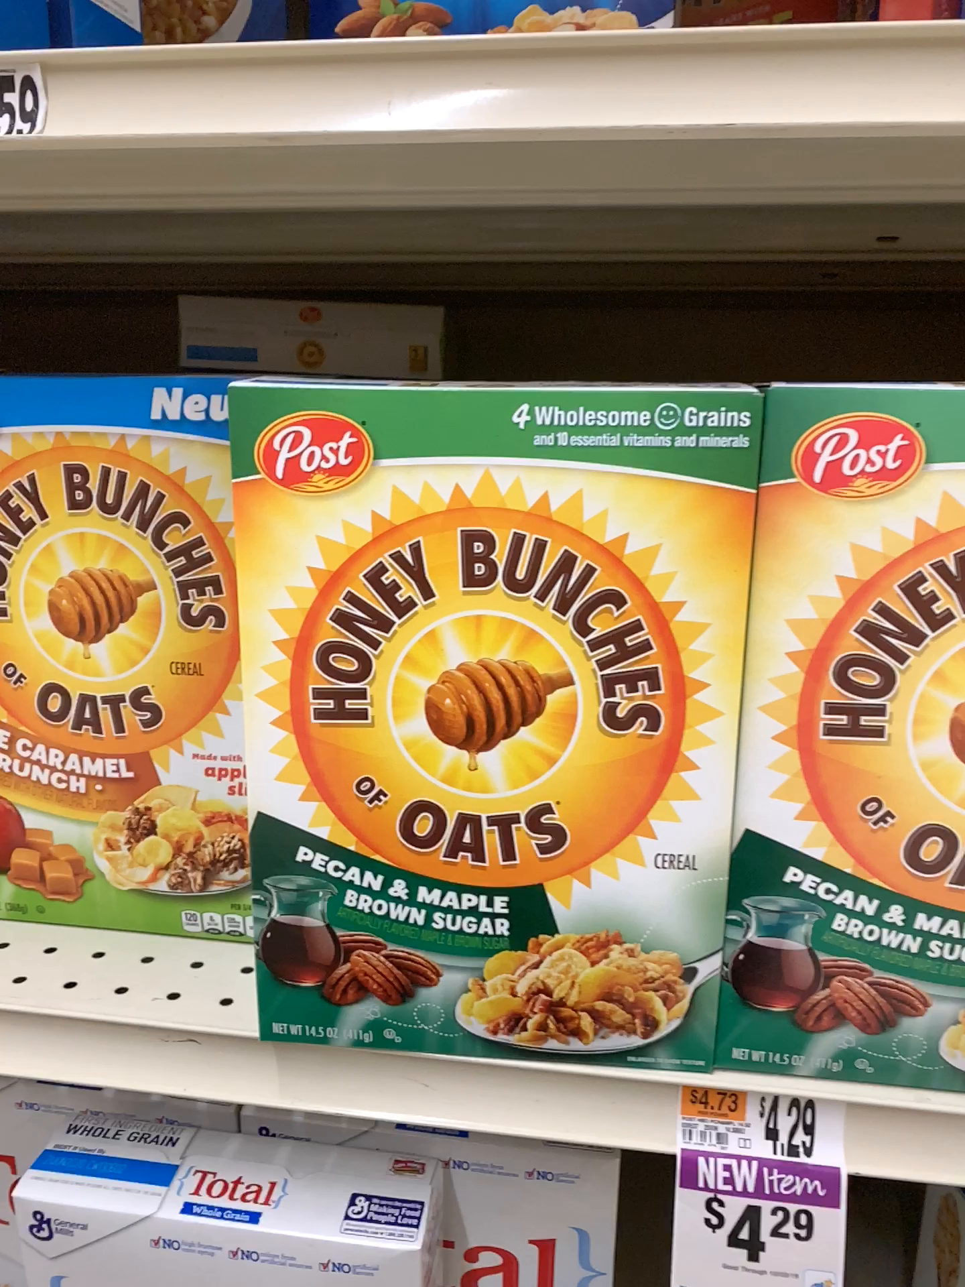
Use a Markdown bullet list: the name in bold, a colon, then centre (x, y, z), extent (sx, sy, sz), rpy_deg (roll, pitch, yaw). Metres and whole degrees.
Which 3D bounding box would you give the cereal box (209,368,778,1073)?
- **cereal box**: centre (0.002, 0.032, 0.411), extent (0.200, 0.279, 0.060), rpy_deg (2, 15, 4)
